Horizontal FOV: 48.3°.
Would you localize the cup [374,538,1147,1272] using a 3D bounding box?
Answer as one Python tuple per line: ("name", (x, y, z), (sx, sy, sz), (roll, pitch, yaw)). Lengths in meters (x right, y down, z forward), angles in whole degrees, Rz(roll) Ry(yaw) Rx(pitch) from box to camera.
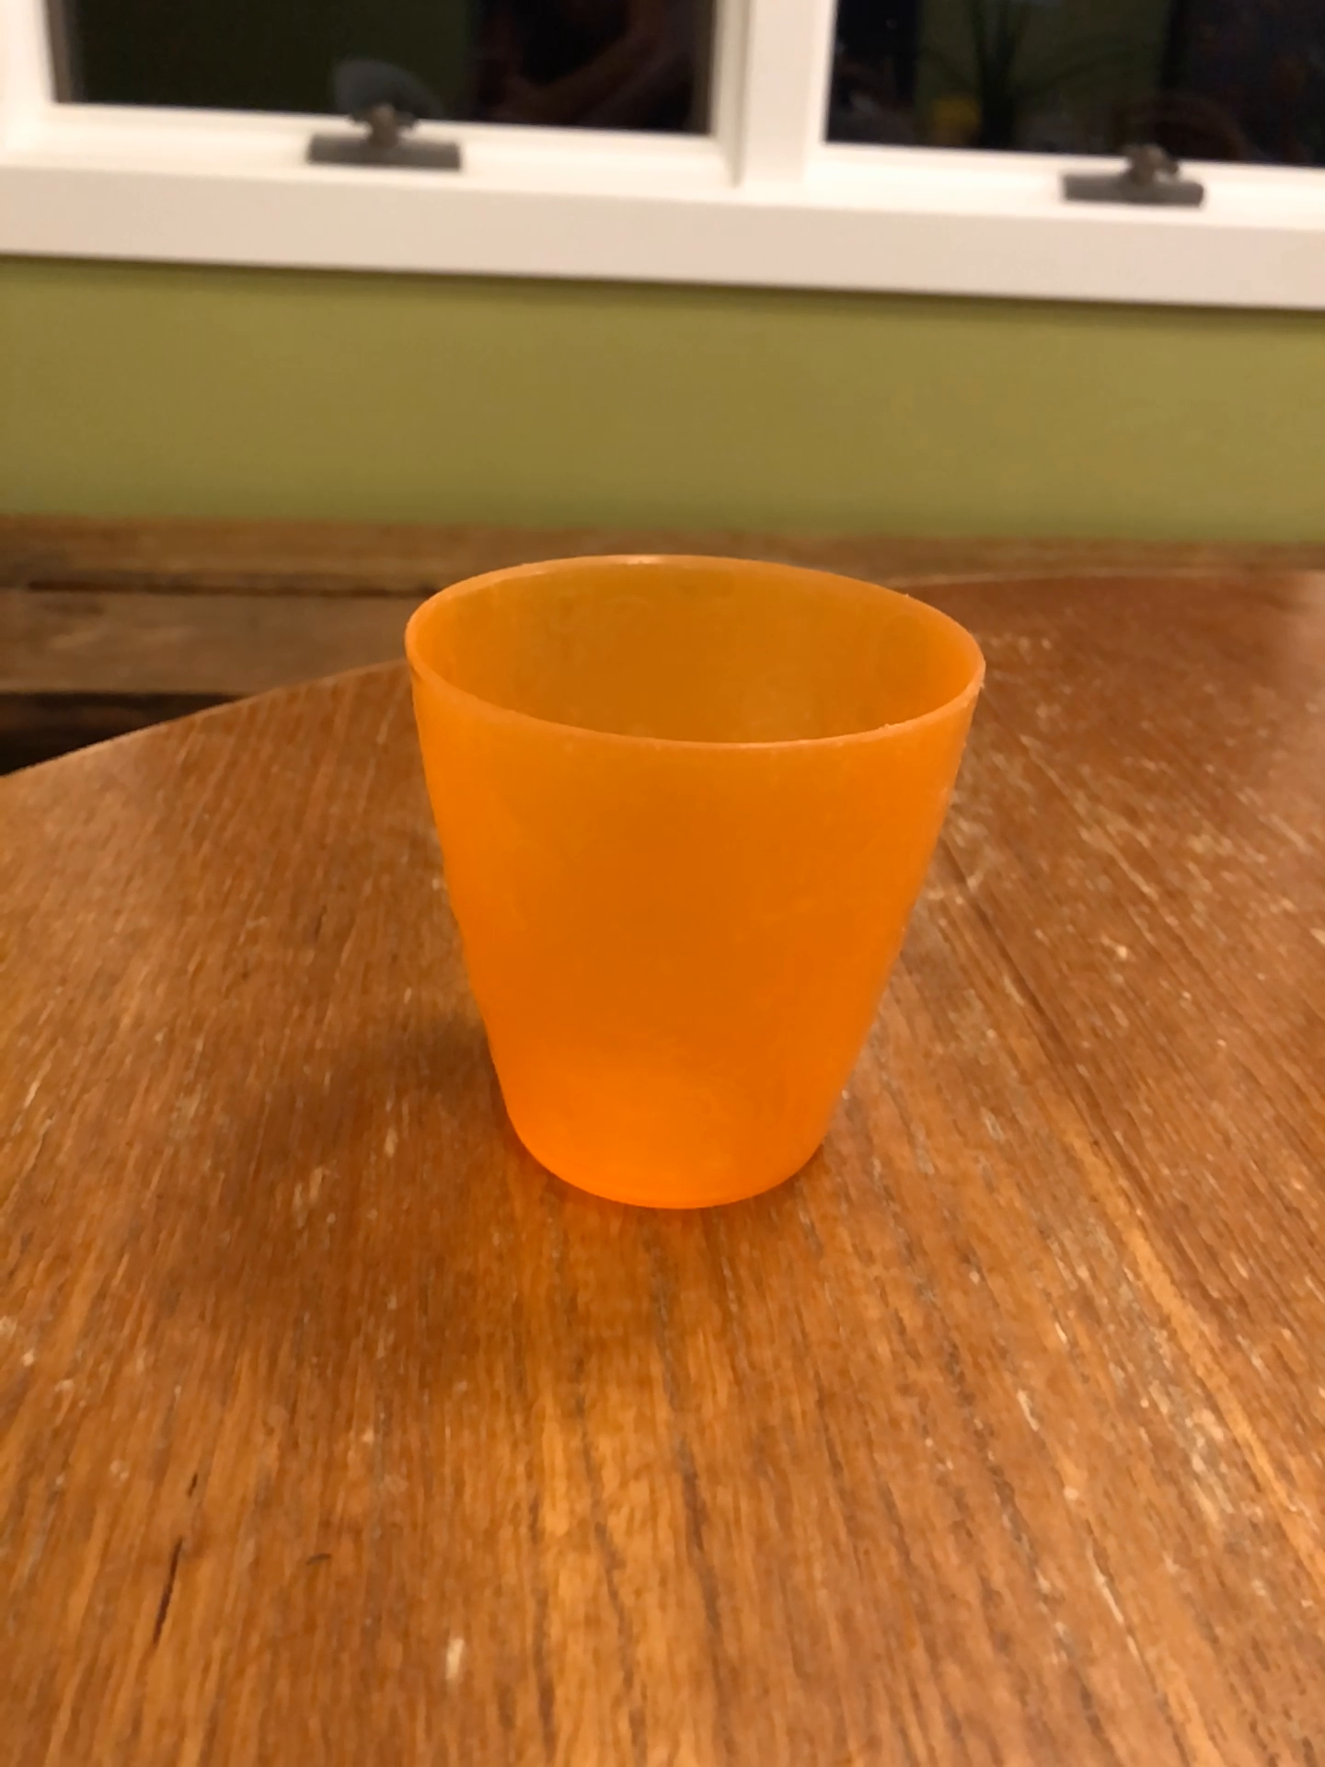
("cup", (0.005, -0.004, 0.206), (0.079, 0.066, 0.080), (2, 27, -1))
